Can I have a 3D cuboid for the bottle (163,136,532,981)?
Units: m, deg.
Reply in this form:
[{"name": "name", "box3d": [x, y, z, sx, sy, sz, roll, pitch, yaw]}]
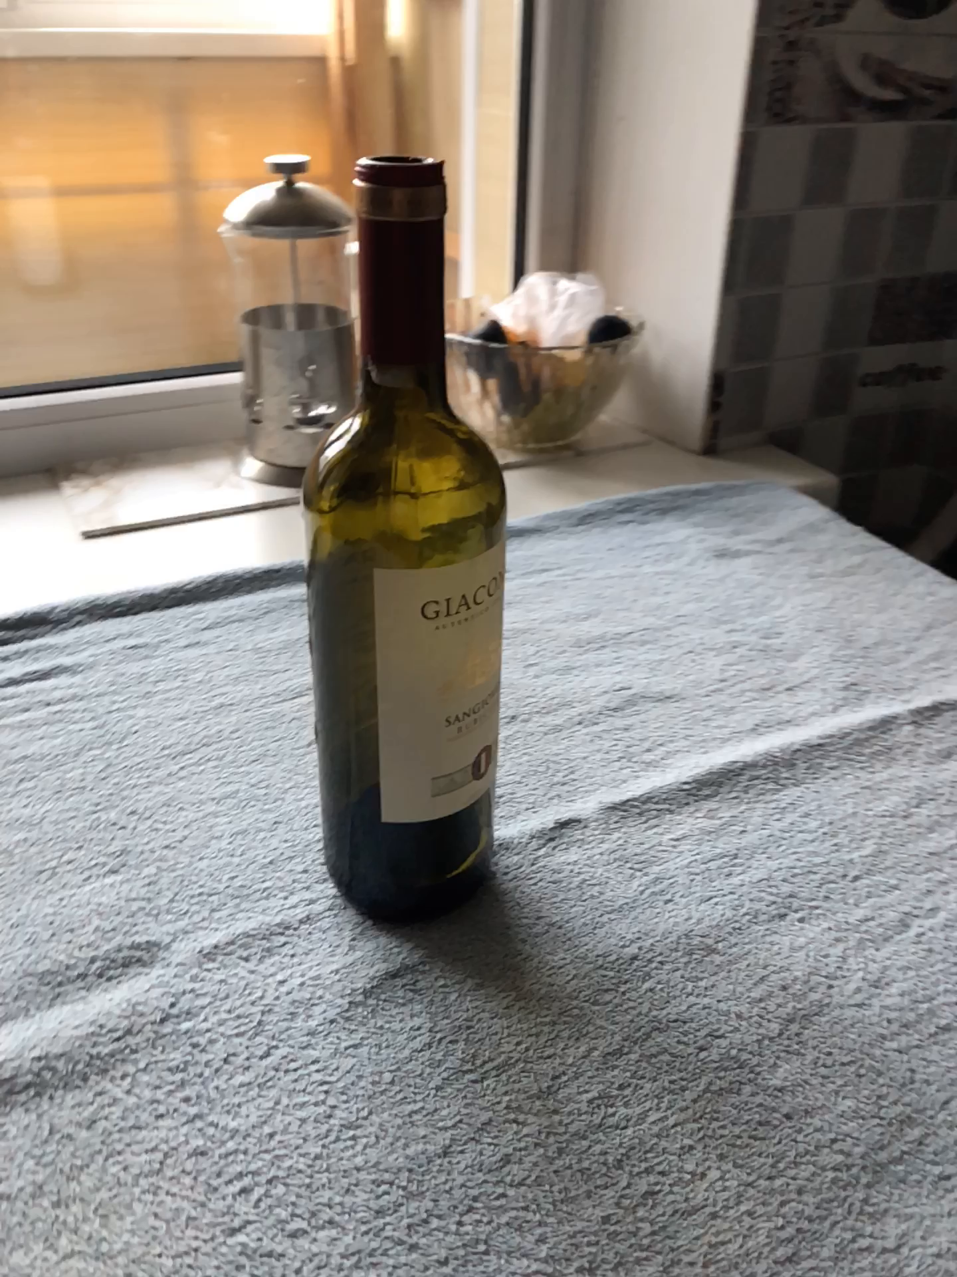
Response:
[{"name": "bottle", "box3d": [-0.042, -0.020, 0.398, 0.080, 0.299, 0.080, 1, 30, -1]}]
